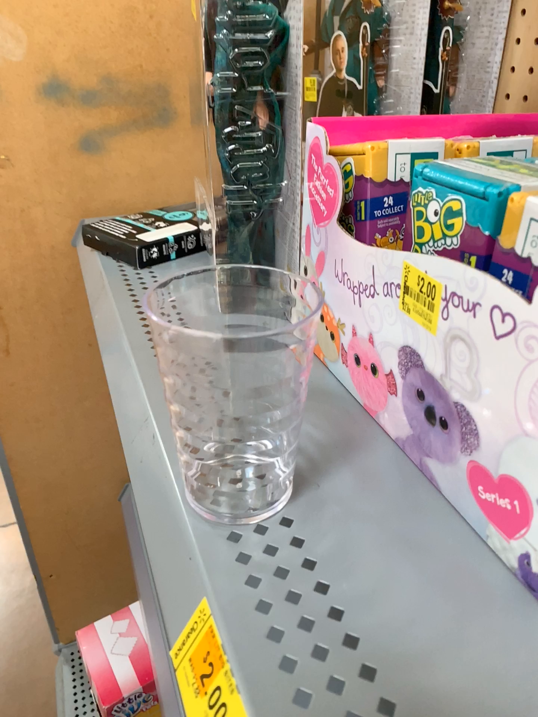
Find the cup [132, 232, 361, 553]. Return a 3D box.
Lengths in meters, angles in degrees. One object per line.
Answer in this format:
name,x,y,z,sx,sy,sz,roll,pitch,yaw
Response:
cup,-0.014,0.010,0.249,0.070,0.107,0.079,-11,31,-18
